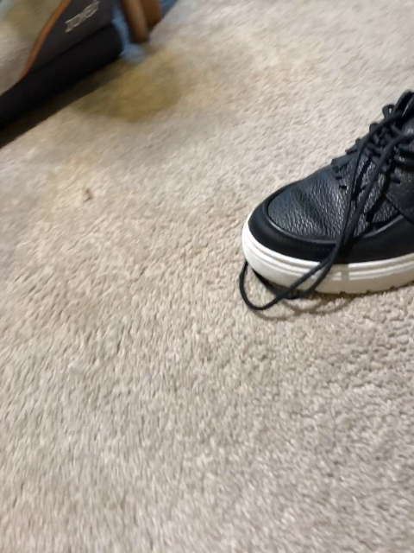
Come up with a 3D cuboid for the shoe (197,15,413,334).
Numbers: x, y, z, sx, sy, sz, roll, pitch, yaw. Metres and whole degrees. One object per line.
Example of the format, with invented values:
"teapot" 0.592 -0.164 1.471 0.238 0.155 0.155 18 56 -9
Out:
"shoe" 0.140 -0.069 0.317 0.262 0.111 0.107 -16 49 1
